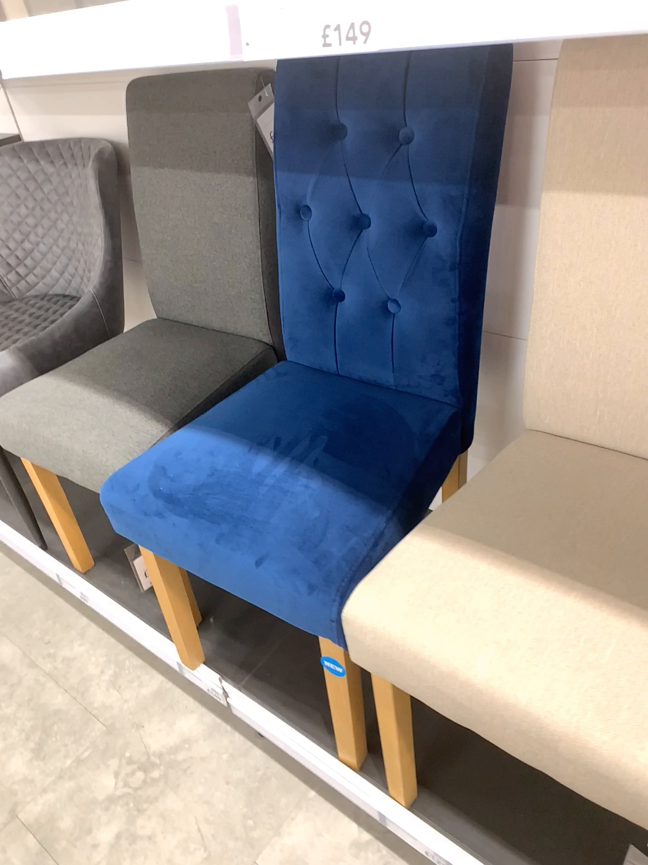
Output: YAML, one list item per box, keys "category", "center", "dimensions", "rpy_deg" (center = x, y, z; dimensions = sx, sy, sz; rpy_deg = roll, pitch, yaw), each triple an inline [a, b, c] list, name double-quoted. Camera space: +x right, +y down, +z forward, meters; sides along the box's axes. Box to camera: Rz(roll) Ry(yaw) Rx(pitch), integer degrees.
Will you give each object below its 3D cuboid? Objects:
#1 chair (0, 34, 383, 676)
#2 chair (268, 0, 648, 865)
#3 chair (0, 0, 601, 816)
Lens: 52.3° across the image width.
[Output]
- category: "chair"
  center: [-0.288, -0.190, 1.366]
  dimensions: [0.491, 1.024, 0.670]
  rpy_deg: [19, 38, 35]
- category: "chair"
  center: [0.400, 0.050, 0.821]
  dimensions: [0.491, 1.034, 0.670]
  rpy_deg: [19, 38, 35]
- category: "chair"
  center: [0.030, -0.077, 1.105]
  dimensions: [0.491, 1.034, 0.670]
  rpy_deg: [19, 38, 35]
